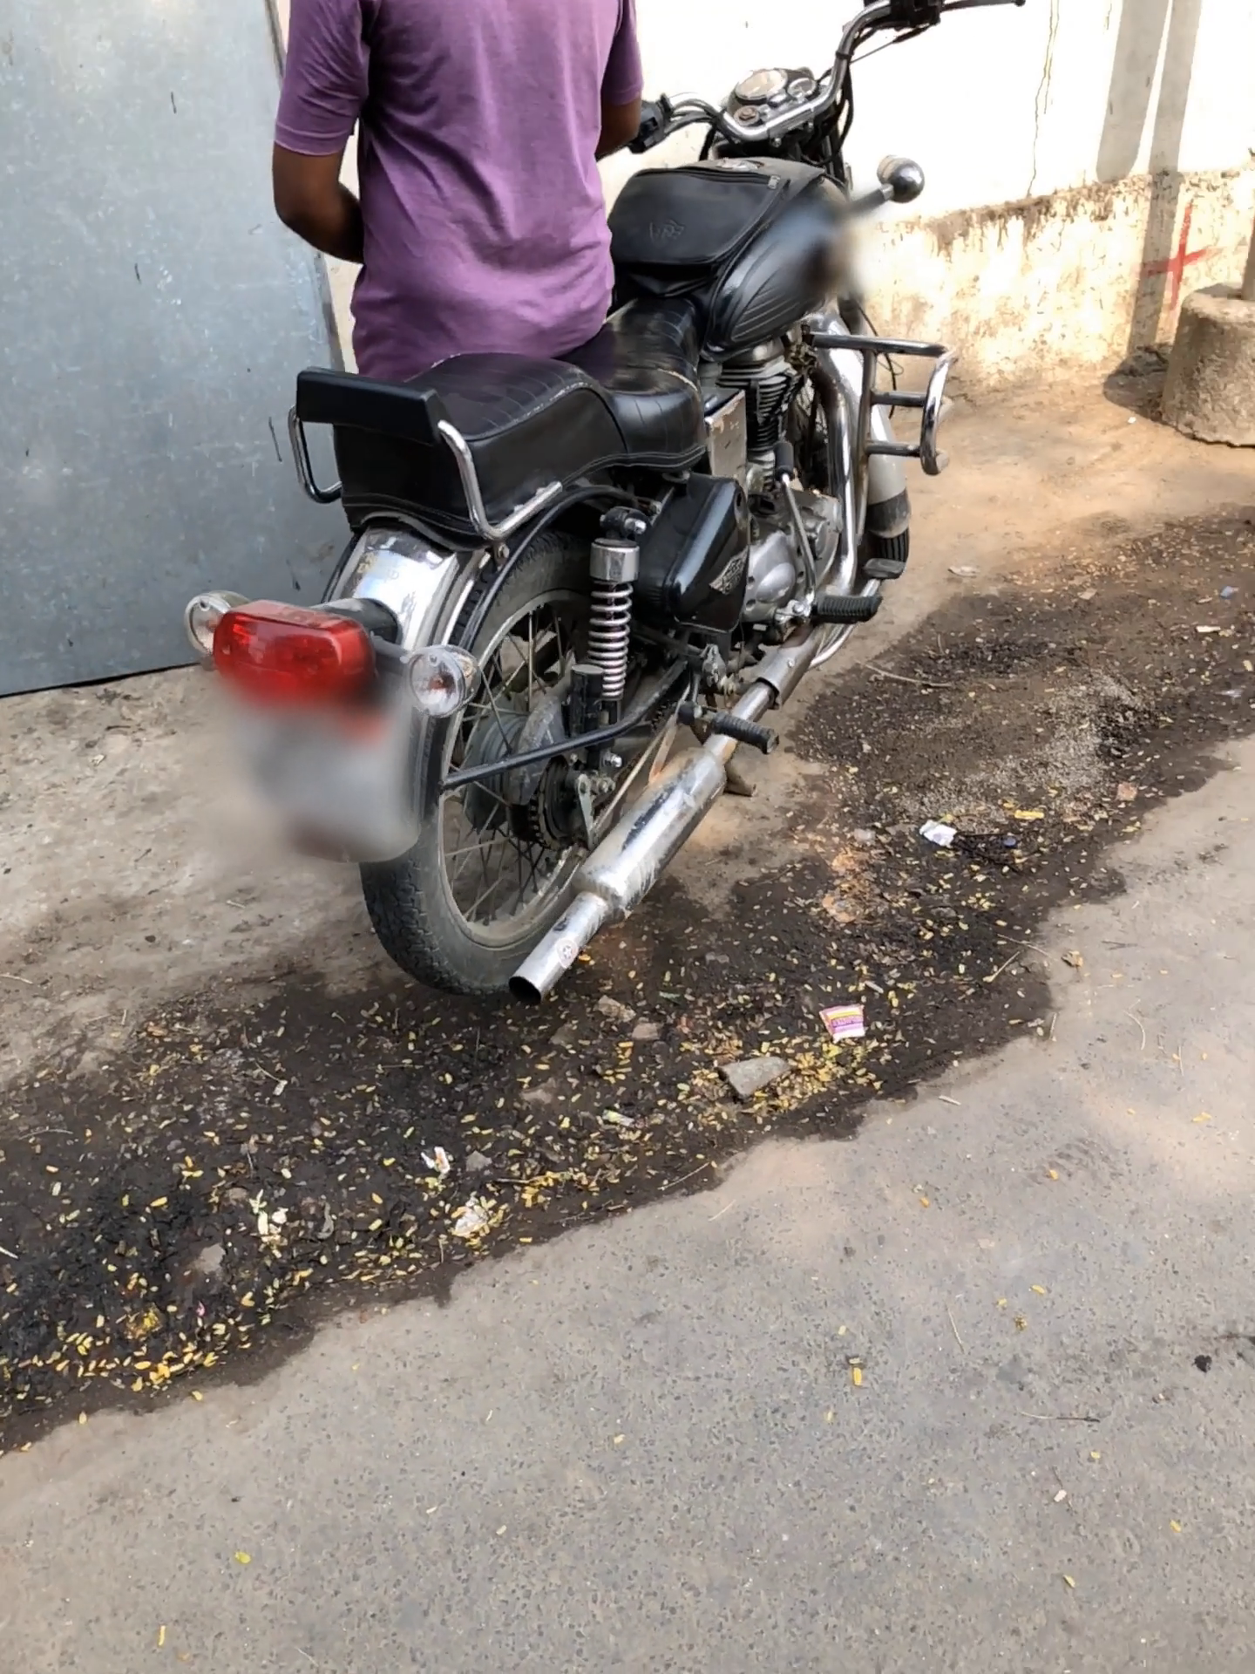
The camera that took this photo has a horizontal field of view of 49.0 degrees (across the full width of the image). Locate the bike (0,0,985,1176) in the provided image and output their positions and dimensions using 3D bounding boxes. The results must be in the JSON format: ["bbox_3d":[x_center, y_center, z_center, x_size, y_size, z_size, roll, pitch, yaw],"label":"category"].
[{"bbox_3d":[-0.004,-0.717,2.302,0.838,1.173,1.933,9,40,20],"label":"bike"}]
